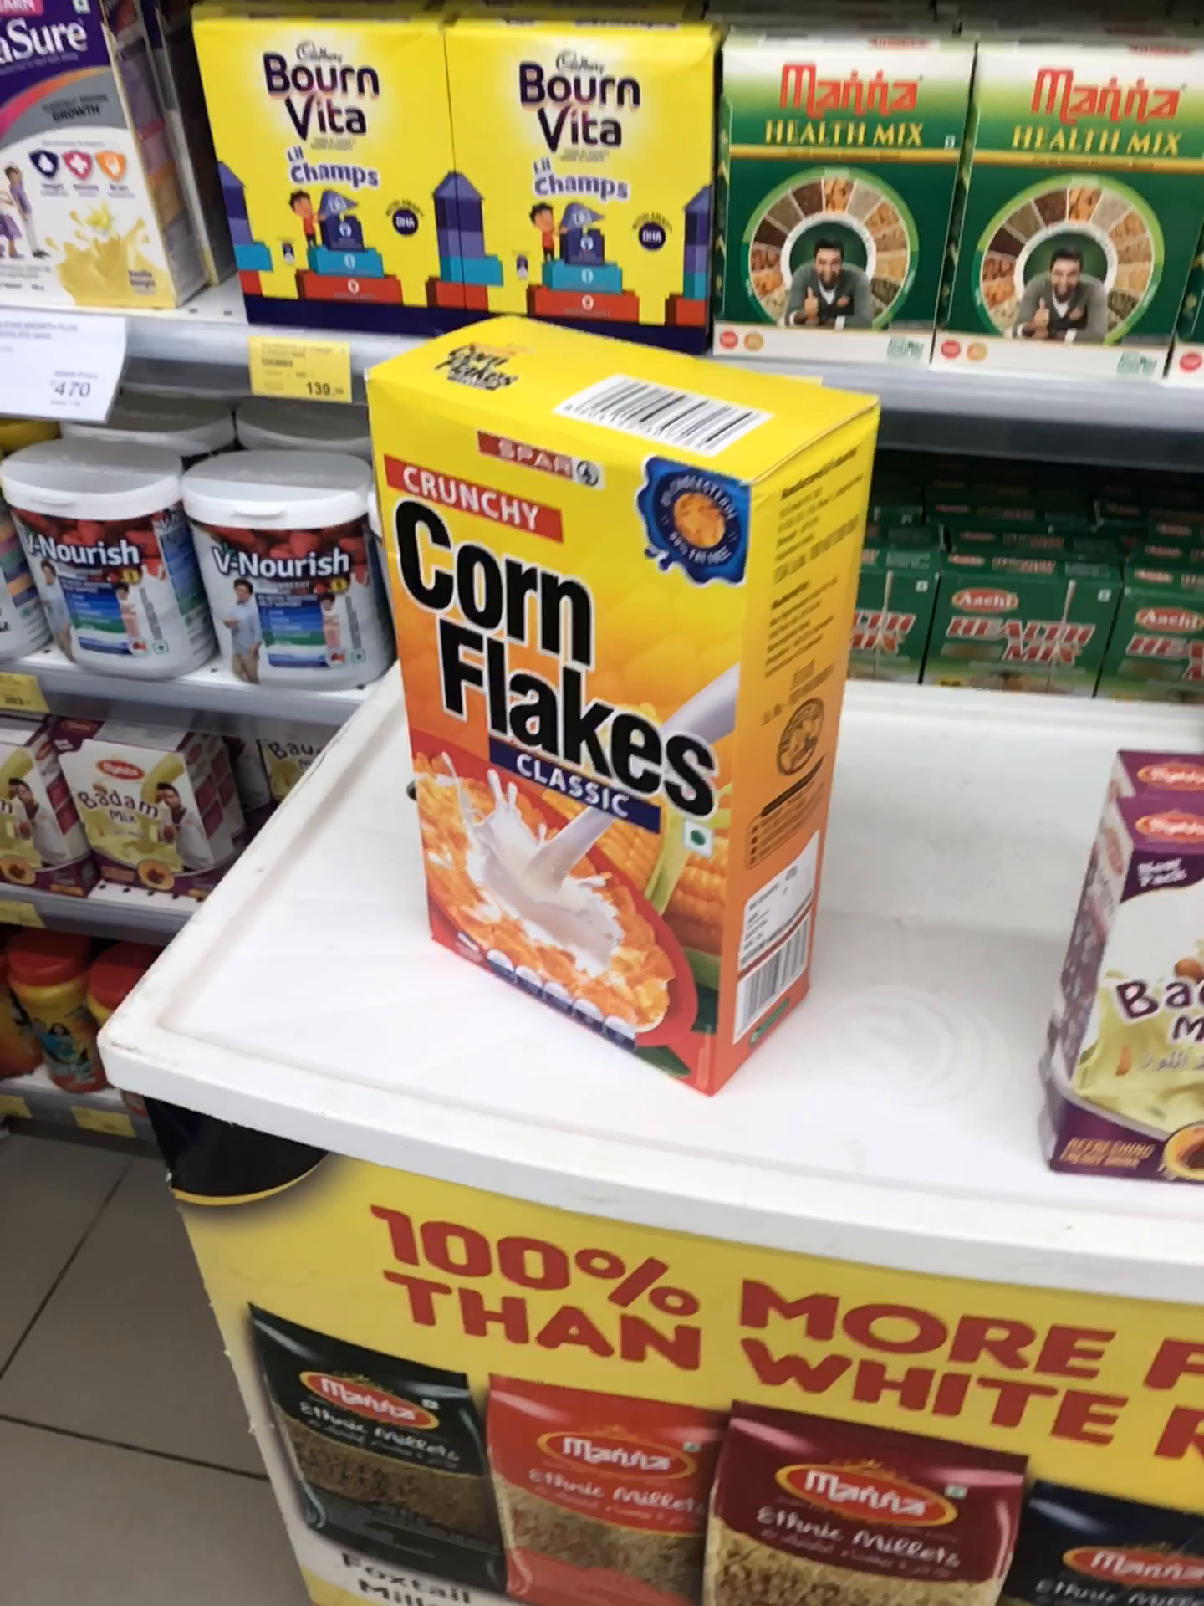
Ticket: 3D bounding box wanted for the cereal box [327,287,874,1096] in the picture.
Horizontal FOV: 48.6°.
[{"bbox_3d":[-0.002,-0.046,0.616,0.200,0.319,0.090,25,45,30],"label":"cereal box"}]
